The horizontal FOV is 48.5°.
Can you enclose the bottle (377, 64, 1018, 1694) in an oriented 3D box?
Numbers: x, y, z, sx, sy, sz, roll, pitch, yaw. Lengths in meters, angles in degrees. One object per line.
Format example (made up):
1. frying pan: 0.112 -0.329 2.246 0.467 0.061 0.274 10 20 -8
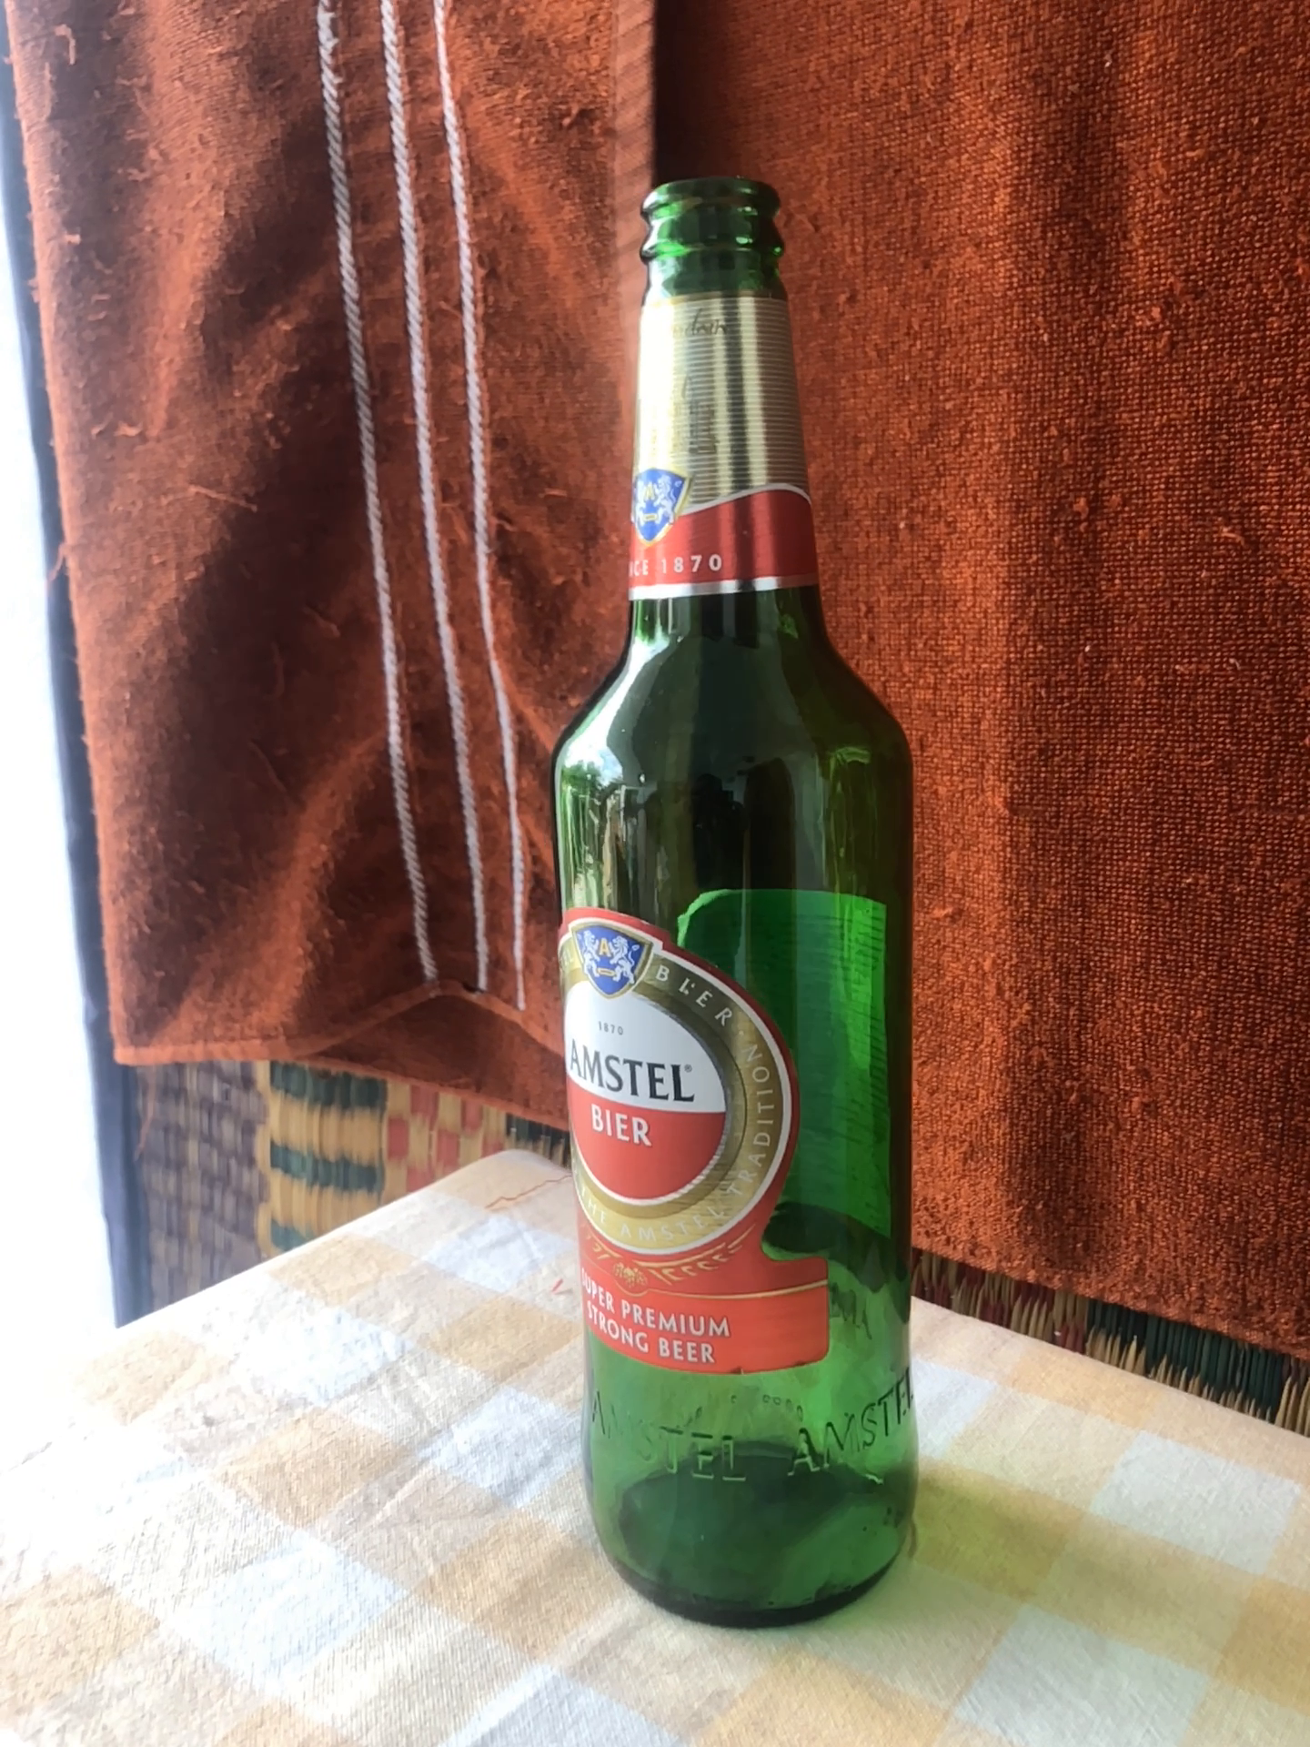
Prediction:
1. bottle: 0.010 0.004 0.288 0.080 0.269 0.080 -2 14 0
